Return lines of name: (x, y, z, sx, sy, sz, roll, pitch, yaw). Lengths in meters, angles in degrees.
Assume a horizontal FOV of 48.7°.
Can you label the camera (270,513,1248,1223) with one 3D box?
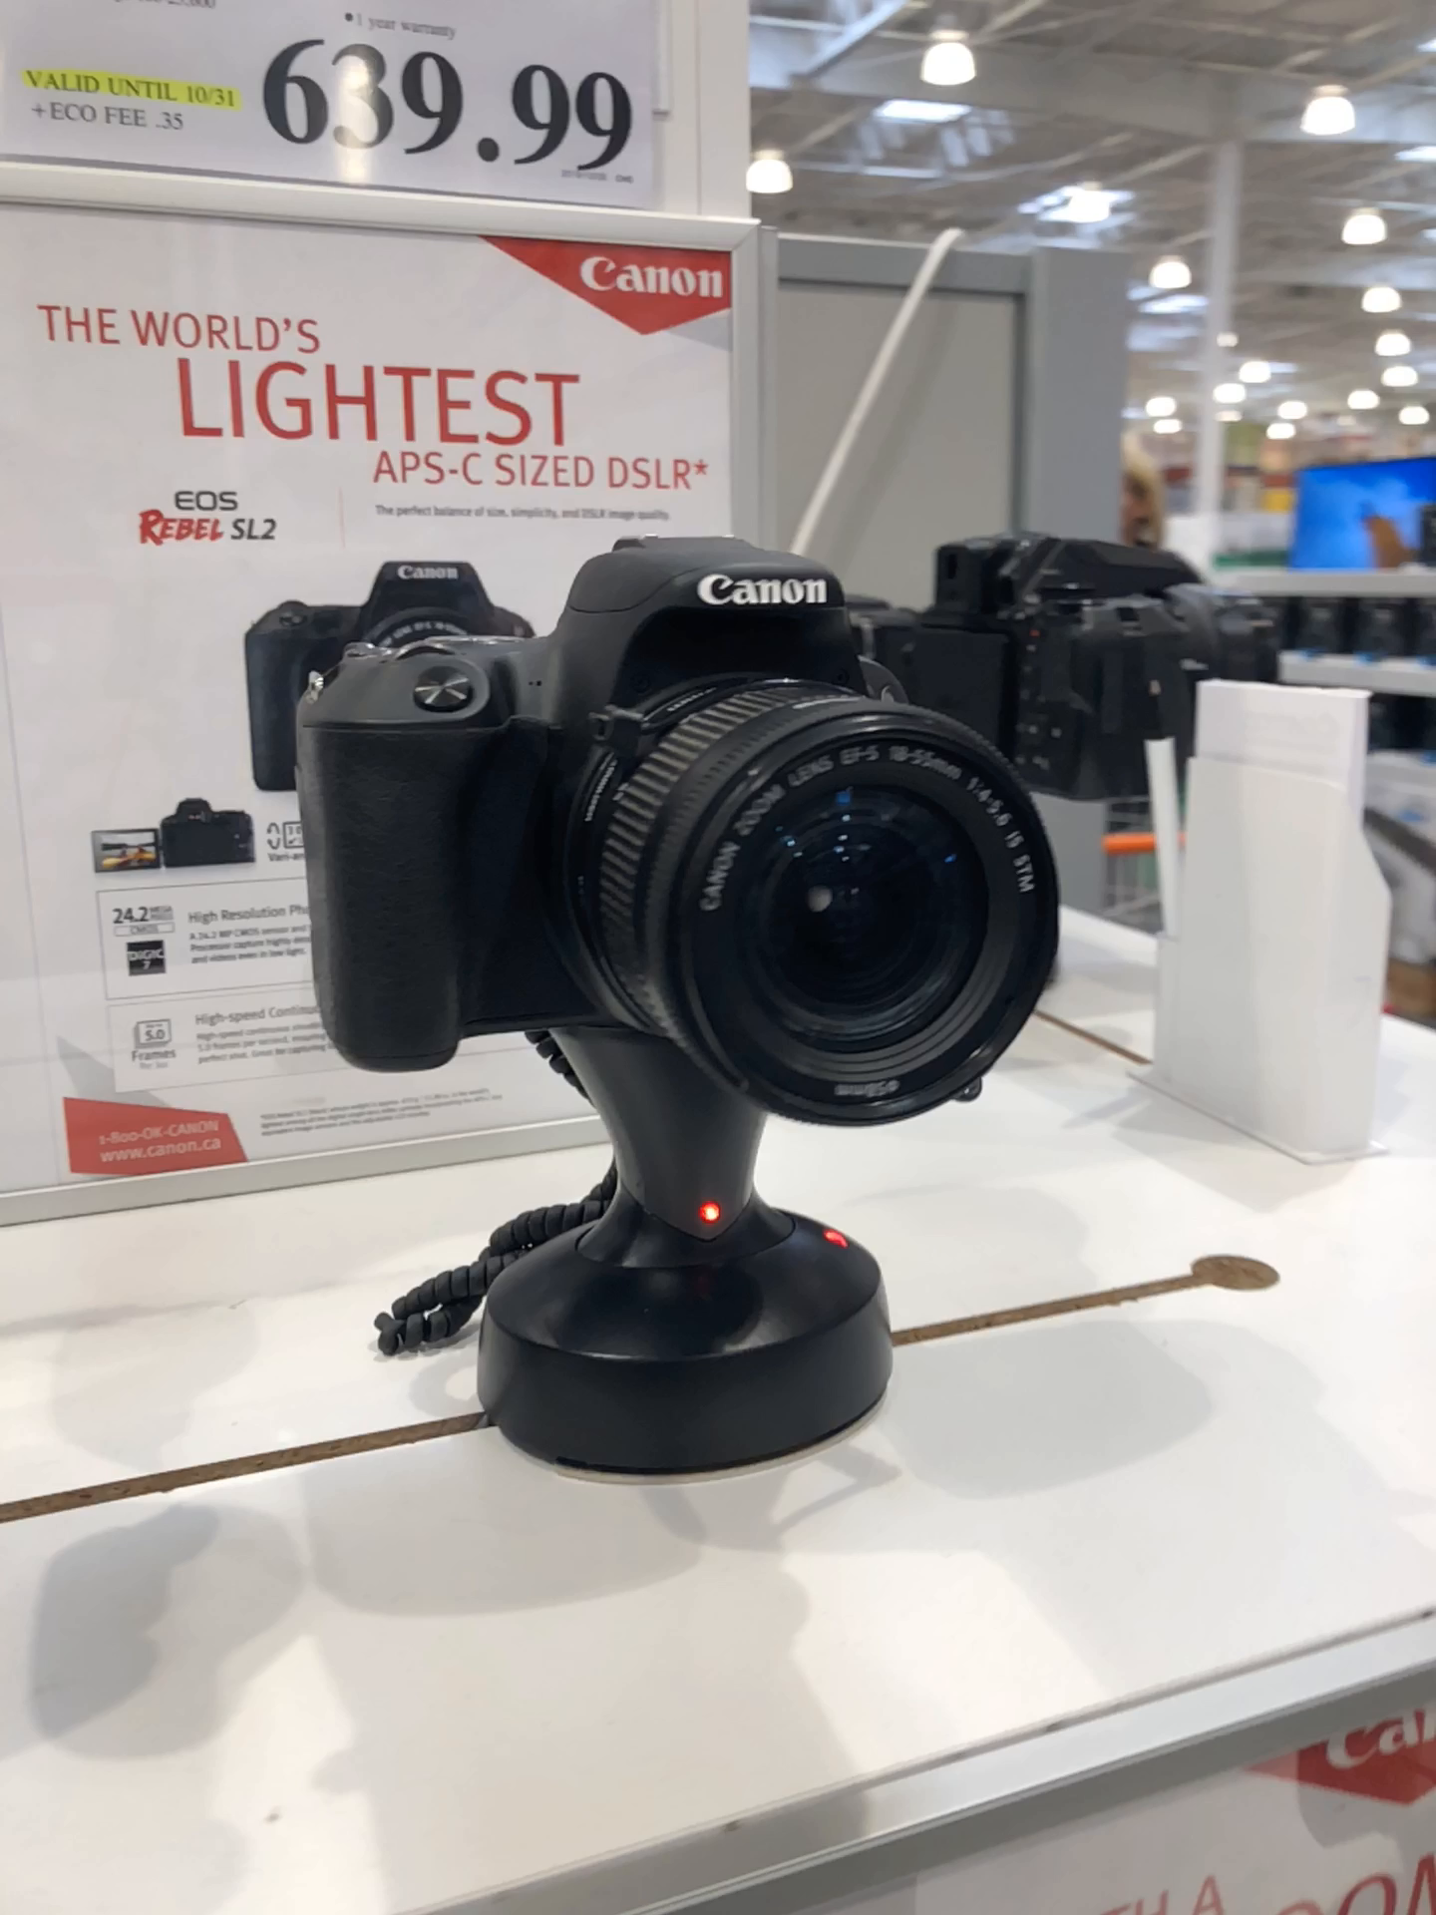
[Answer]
camera: (-0.004, -0.027, 0.273, 0.130, 0.090, 0.120, -4, 14, -17)
